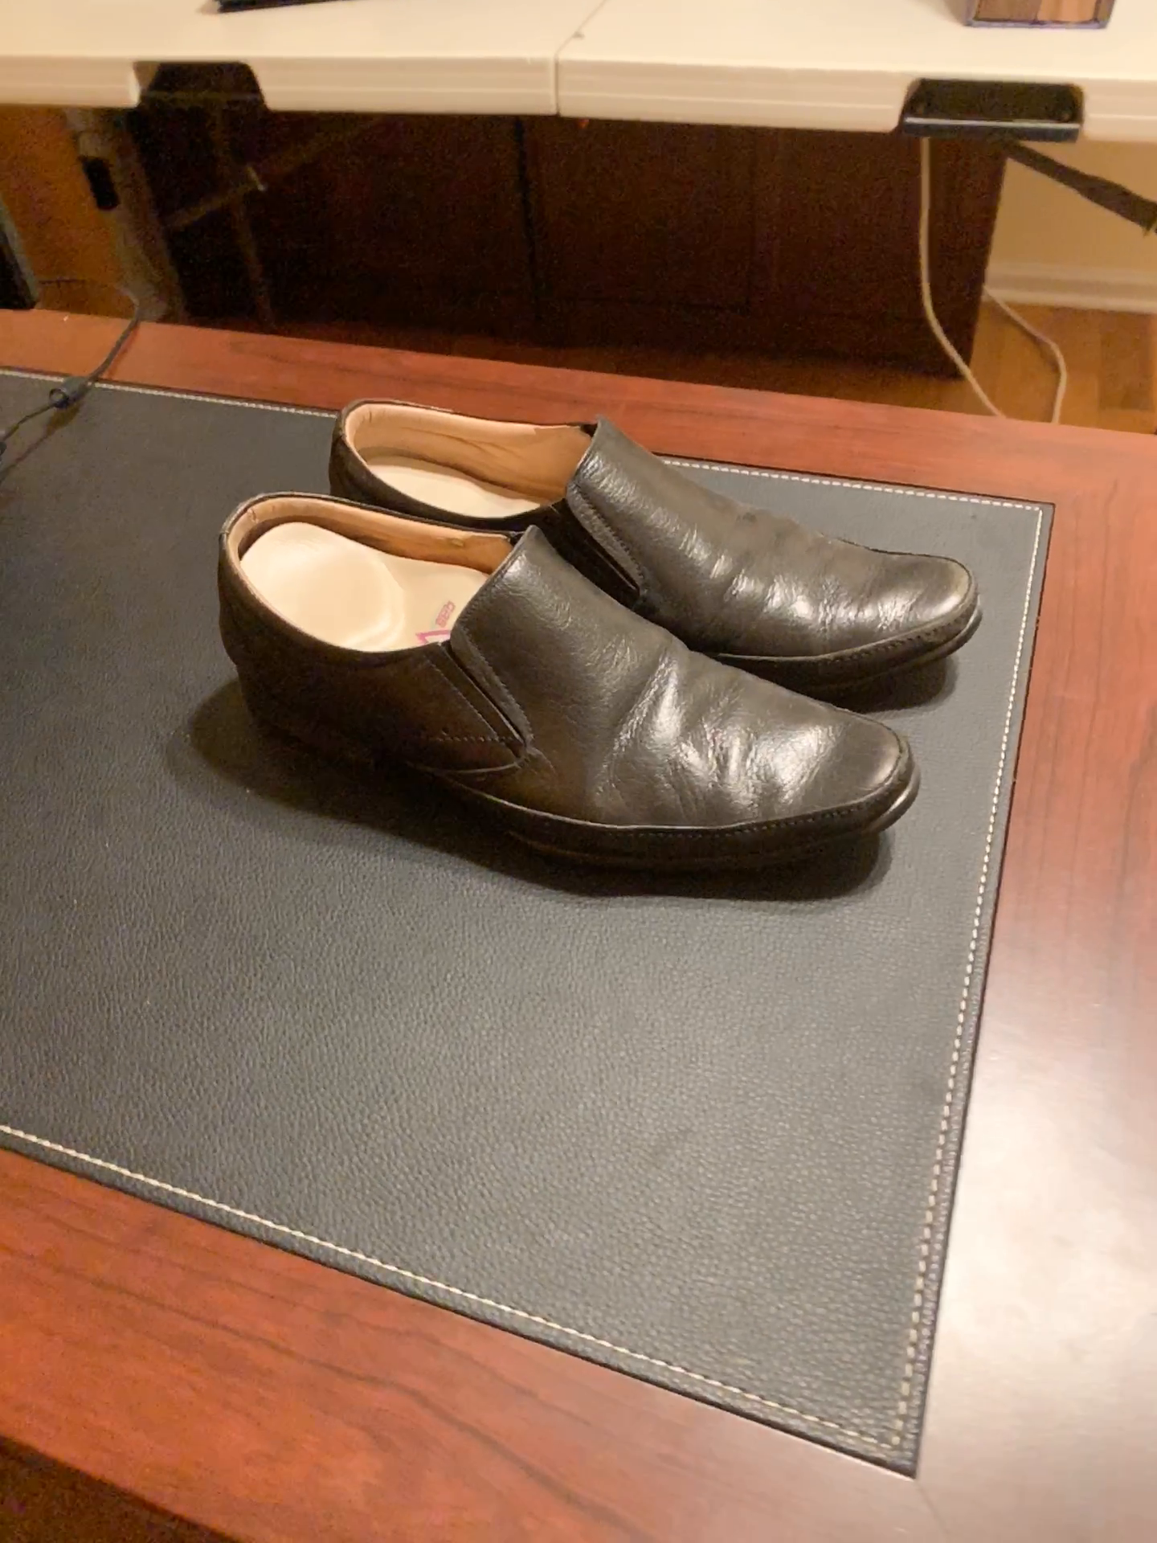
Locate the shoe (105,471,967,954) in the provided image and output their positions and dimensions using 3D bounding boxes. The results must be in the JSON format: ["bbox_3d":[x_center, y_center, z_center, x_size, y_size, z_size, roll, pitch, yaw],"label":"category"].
[{"bbox_3d":[-0.014,-0.031,0.446,0.284,0.077,0.111,11,50,16],"label":"shoe"}]

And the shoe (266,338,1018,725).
[{"bbox_3d":[0.027,-0.109,0.507,0.284,0.077,0.106,11,50,16],"label":"shoe"}]
